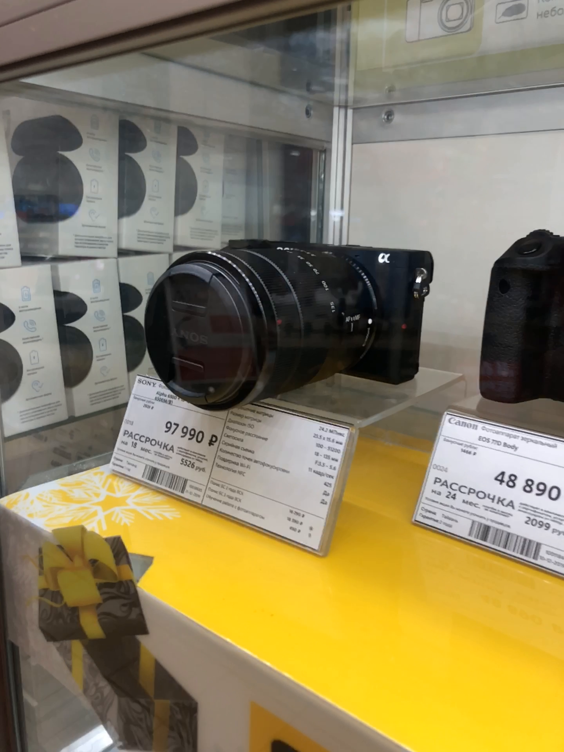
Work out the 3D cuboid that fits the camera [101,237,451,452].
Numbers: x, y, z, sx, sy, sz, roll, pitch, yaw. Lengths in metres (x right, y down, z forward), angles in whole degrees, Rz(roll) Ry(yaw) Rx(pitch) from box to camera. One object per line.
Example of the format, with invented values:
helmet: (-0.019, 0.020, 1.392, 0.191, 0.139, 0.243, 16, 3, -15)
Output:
camera: (-0.003, -0.030, 0.329, 0.130, 0.080, 0.123, 13, 18, 41)
